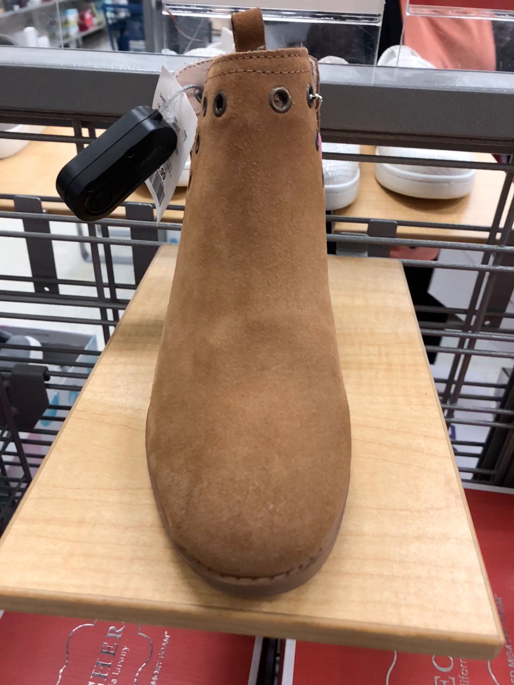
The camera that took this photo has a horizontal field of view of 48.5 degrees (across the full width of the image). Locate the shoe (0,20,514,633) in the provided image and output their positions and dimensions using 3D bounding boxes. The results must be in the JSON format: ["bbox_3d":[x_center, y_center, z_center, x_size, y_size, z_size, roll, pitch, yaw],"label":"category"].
[{"bbox_3d":[0.000,-0.049,0.251,0.092,0.129,0.282,3,36,0],"label":"shoe"}]
